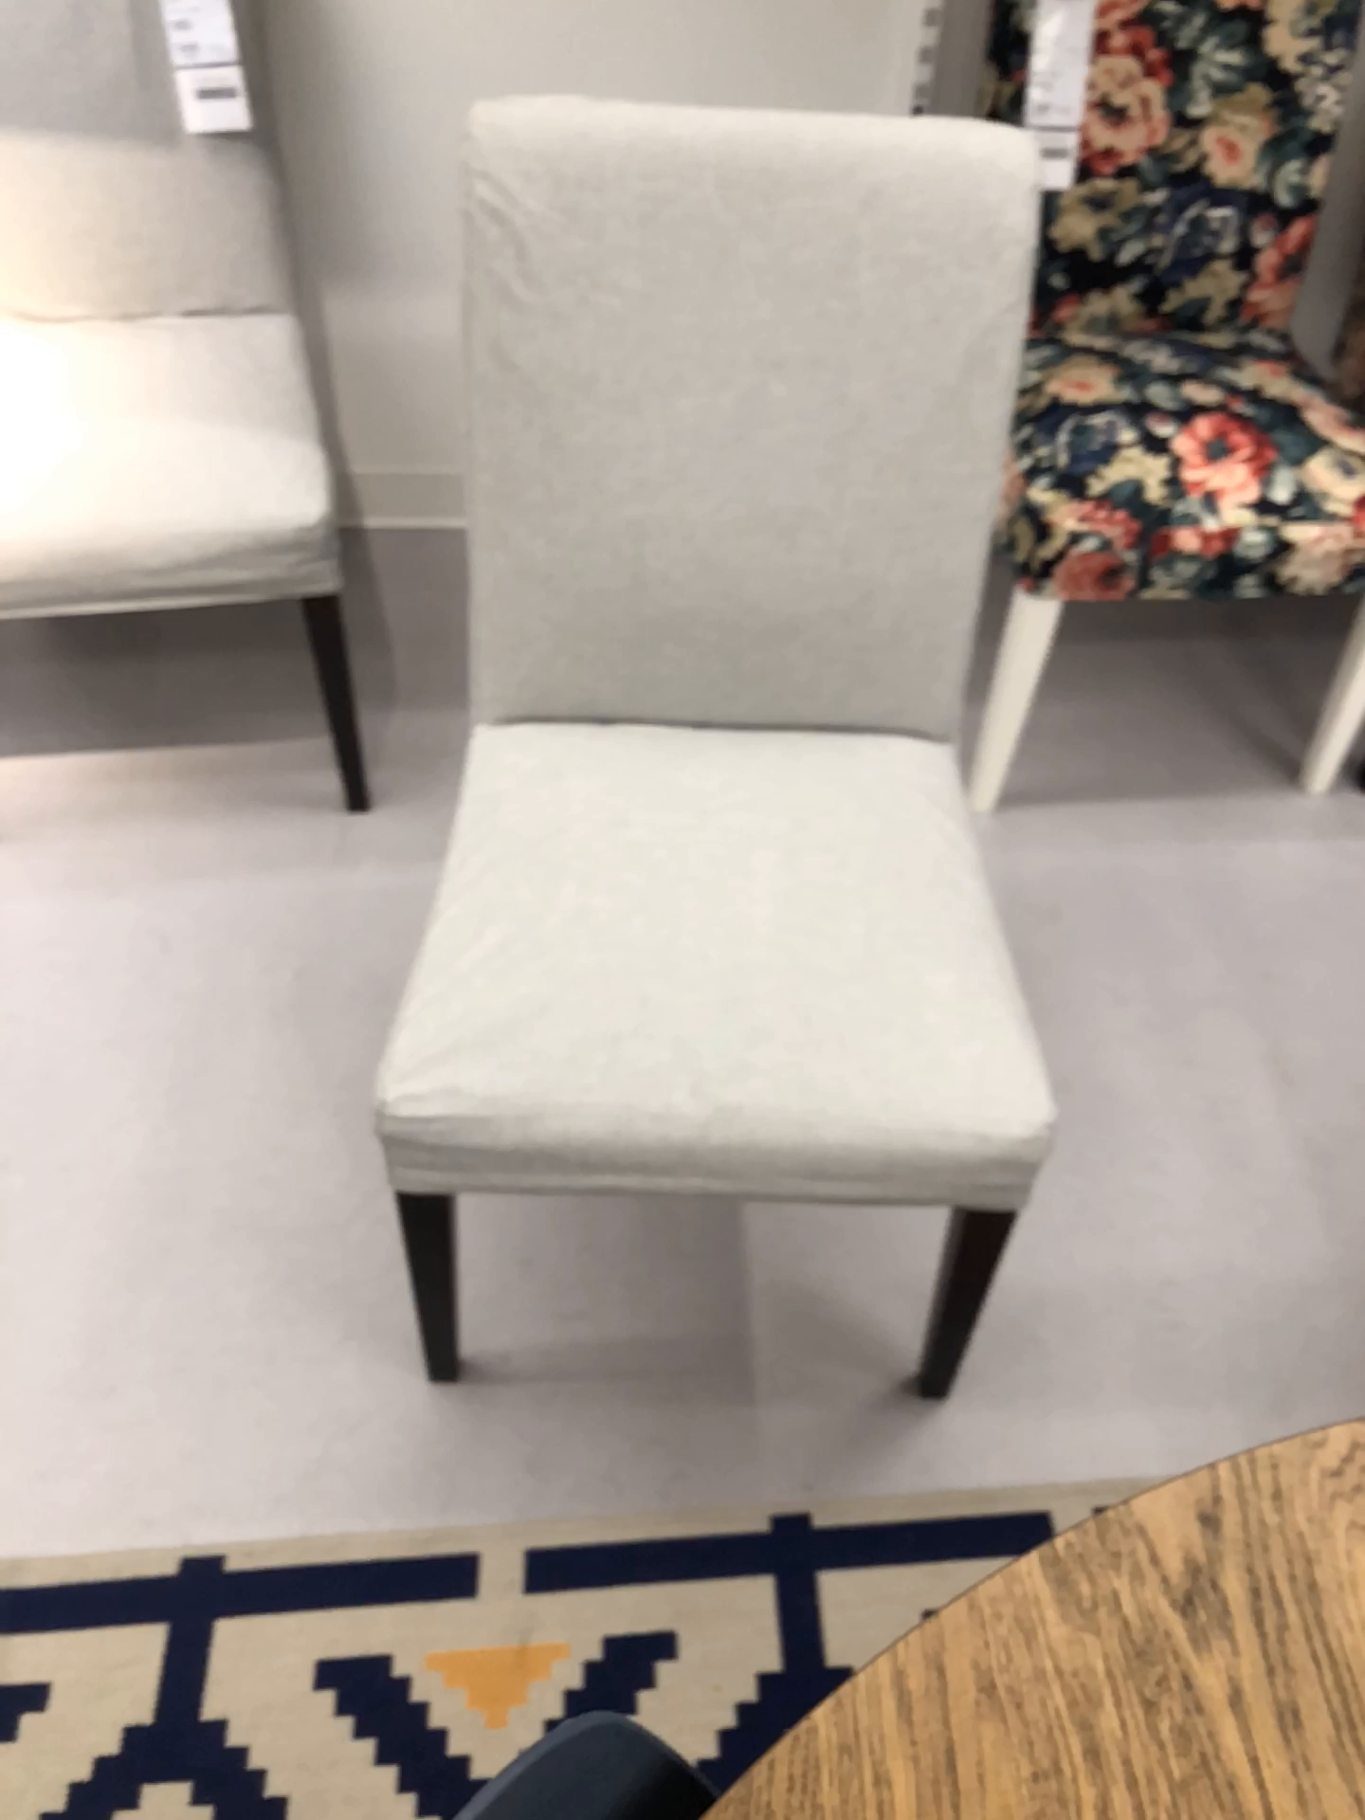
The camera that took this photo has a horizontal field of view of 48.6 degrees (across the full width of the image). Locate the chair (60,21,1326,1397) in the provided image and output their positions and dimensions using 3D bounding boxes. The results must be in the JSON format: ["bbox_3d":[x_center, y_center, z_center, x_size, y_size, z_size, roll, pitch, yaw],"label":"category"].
[{"bbox_3d":[-0.012,-0.112,1.201,0.560,0.855,0.644,1,47,-2],"label":"chair"}]
